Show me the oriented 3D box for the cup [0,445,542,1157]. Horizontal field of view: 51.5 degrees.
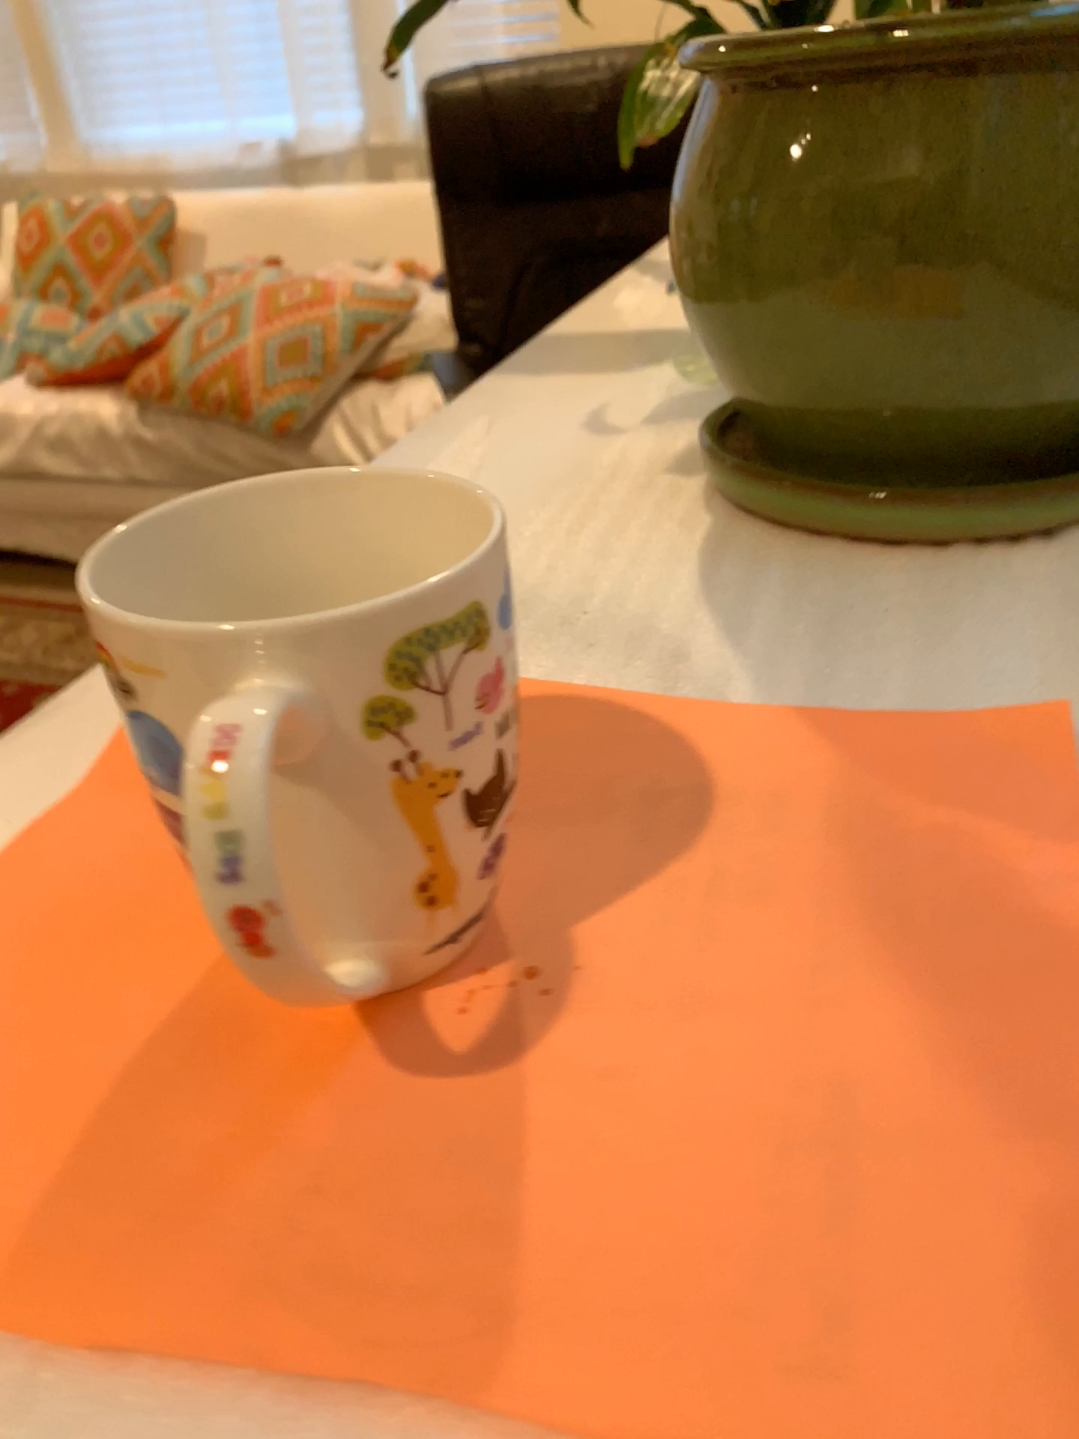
[{"bbox_3d":[-0.049,0.008,0.232,0.090,0.089,0.121,-3,31,3],"label":"cup"}]
